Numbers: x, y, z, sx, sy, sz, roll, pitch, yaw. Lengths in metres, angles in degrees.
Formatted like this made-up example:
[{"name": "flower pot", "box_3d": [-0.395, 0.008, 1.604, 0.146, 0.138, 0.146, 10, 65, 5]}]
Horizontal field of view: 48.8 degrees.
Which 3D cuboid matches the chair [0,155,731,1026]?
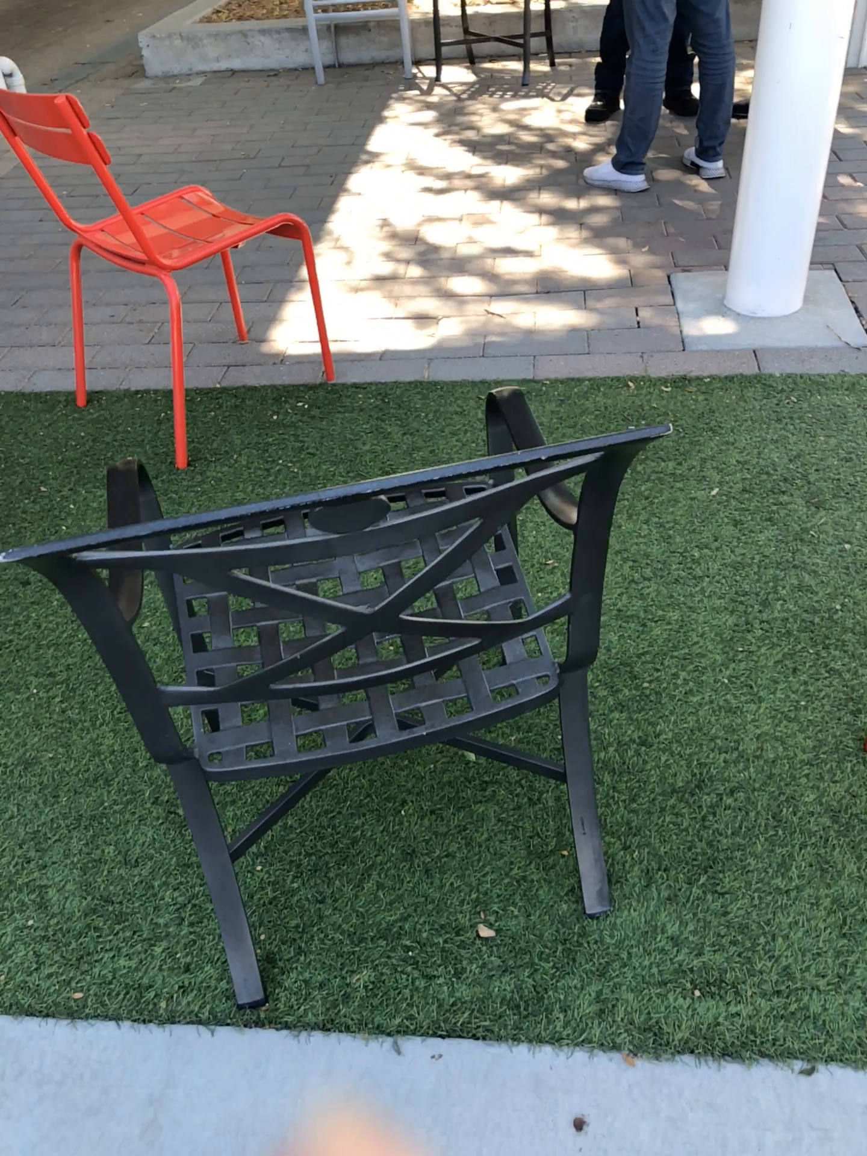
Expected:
[{"name": "chair", "box_3d": [-0.116, 0.008, 1.250, 0.640, 0.806, 0.644, -11, 42, -8]}]
